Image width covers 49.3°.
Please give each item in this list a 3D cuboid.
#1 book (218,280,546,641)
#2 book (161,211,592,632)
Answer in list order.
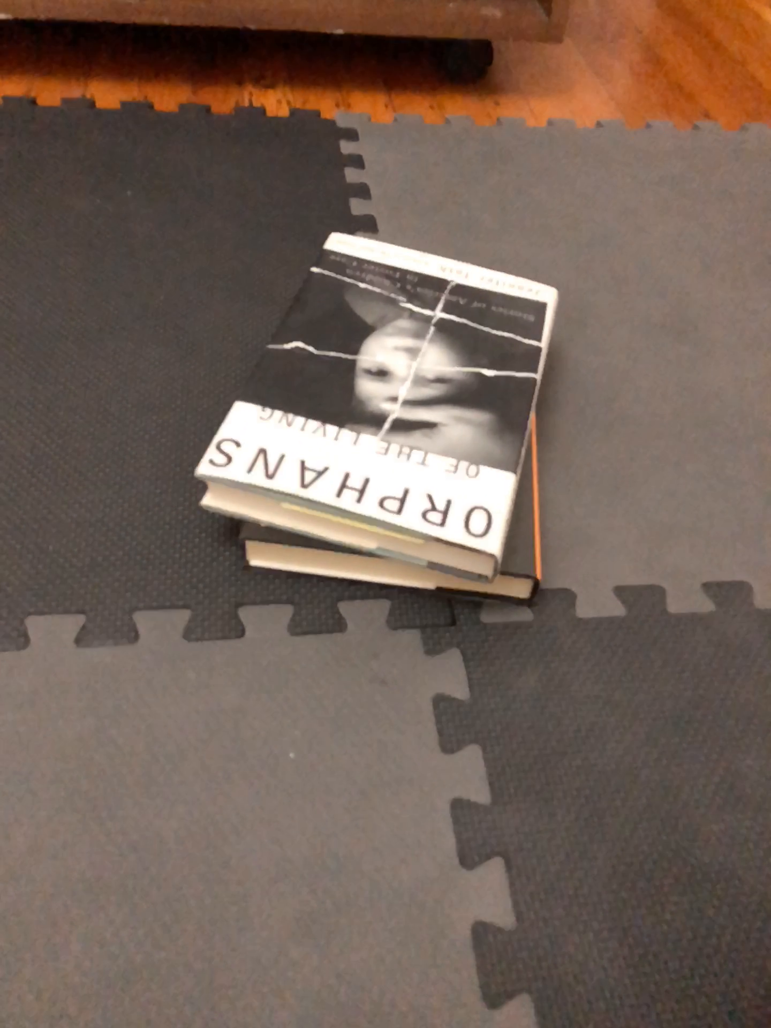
[{"bbox_3d":[0.006,-0.047,0.501,0.160,0.030,0.251,6,49,-1],"label":"book"},{"bbox_3d":[0.015,-0.076,0.488,0.180,0.030,0.282,14,49,6],"label":"book"}]
